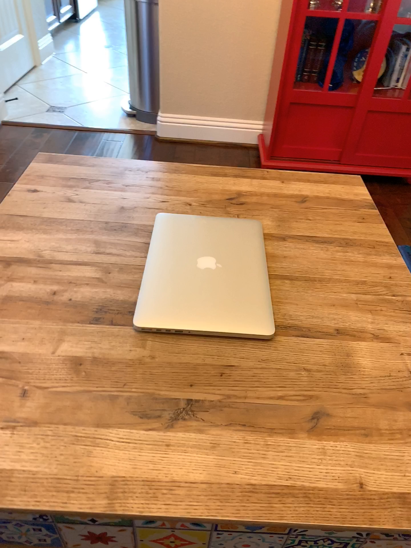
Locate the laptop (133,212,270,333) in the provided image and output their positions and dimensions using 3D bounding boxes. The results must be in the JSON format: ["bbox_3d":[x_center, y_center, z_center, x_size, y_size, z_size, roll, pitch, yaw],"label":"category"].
[{"bbox_3d":[0.000,-0.019,0.747,0.208,0.002,0.299,5,41,-1],"label":"laptop"}]
